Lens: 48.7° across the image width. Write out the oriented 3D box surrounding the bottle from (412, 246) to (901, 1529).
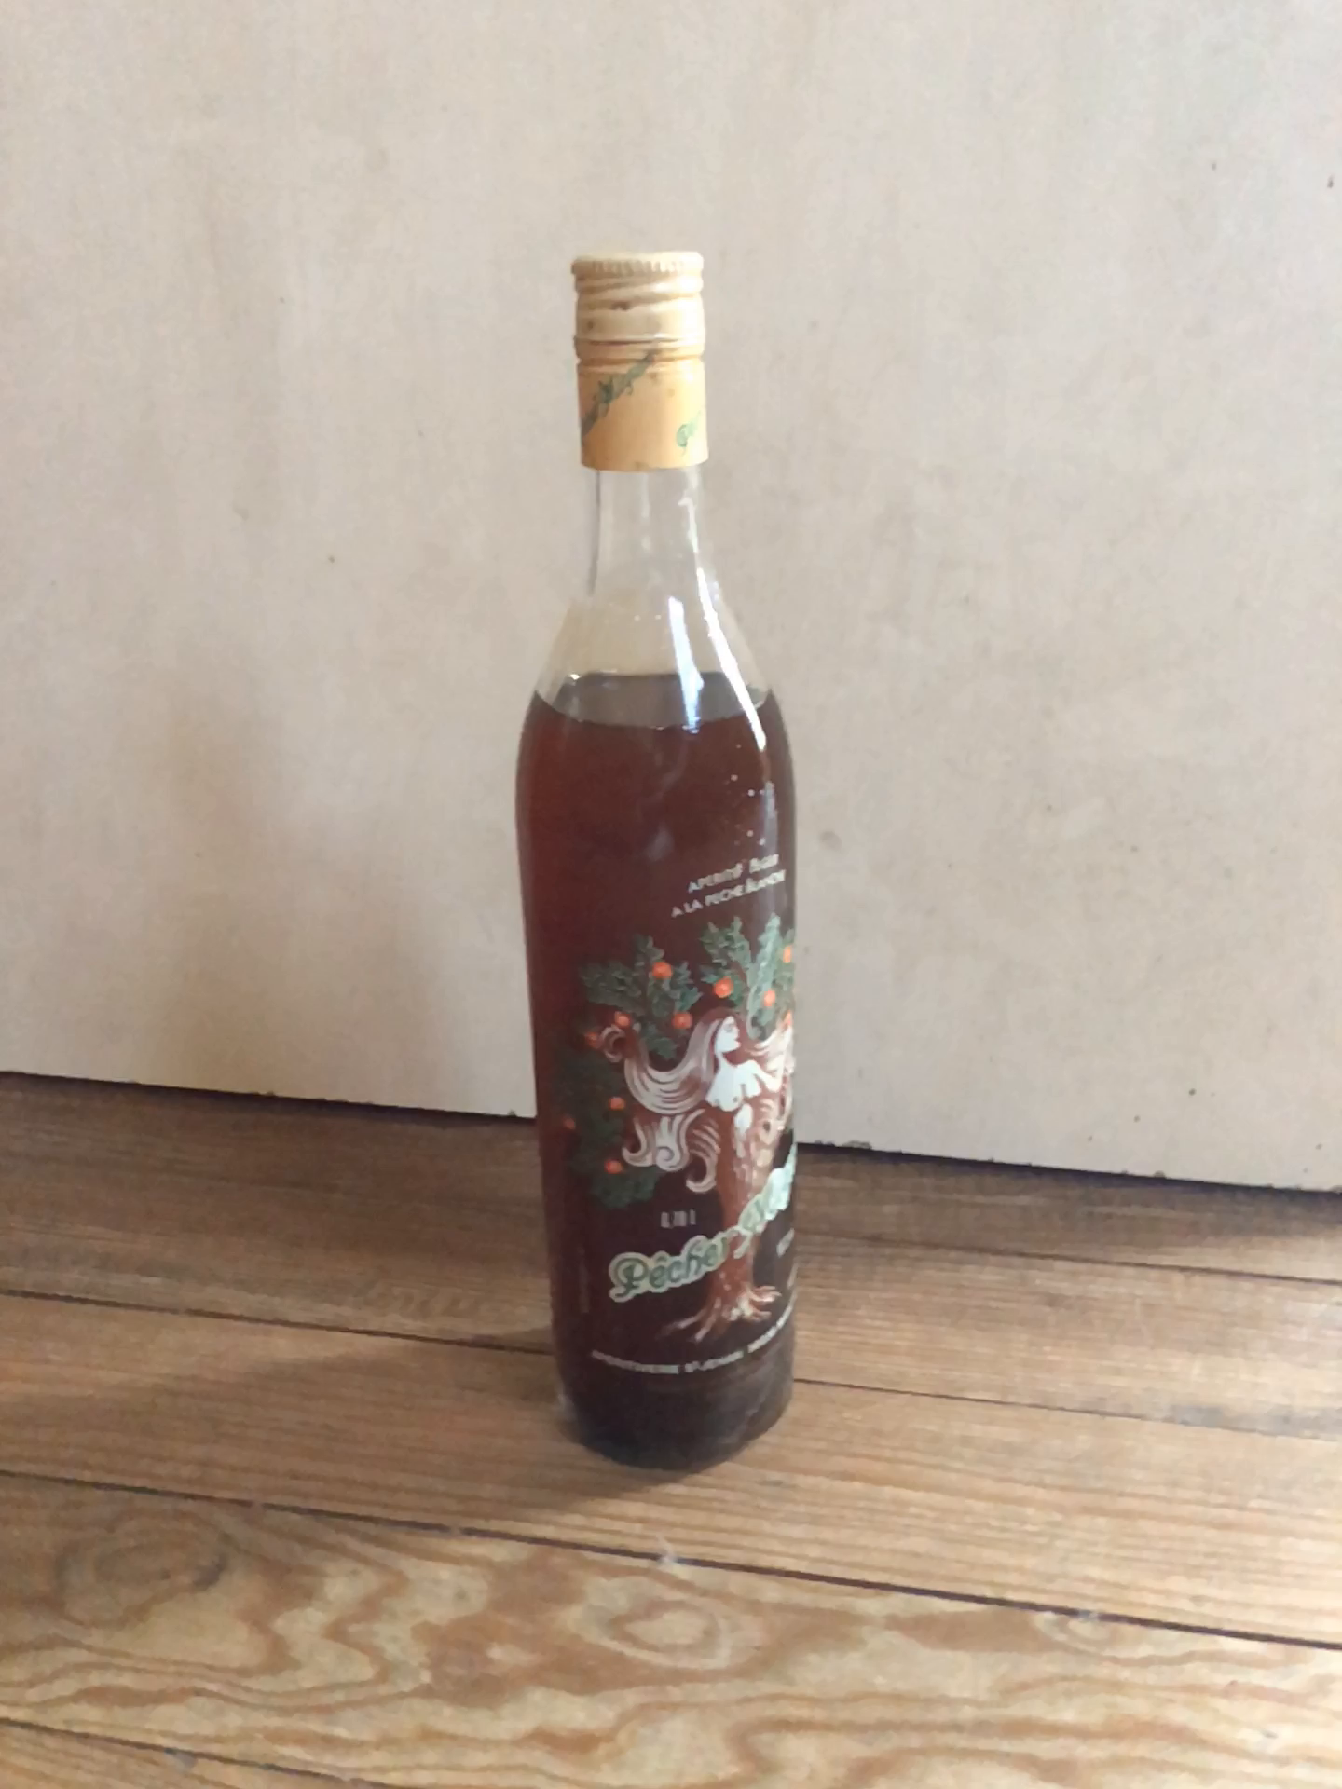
[{"bbox_3d":[-0.004,0.007,0.385,0.080,0.318,0.070,-15,29,-29],"label":"bottle"}]
